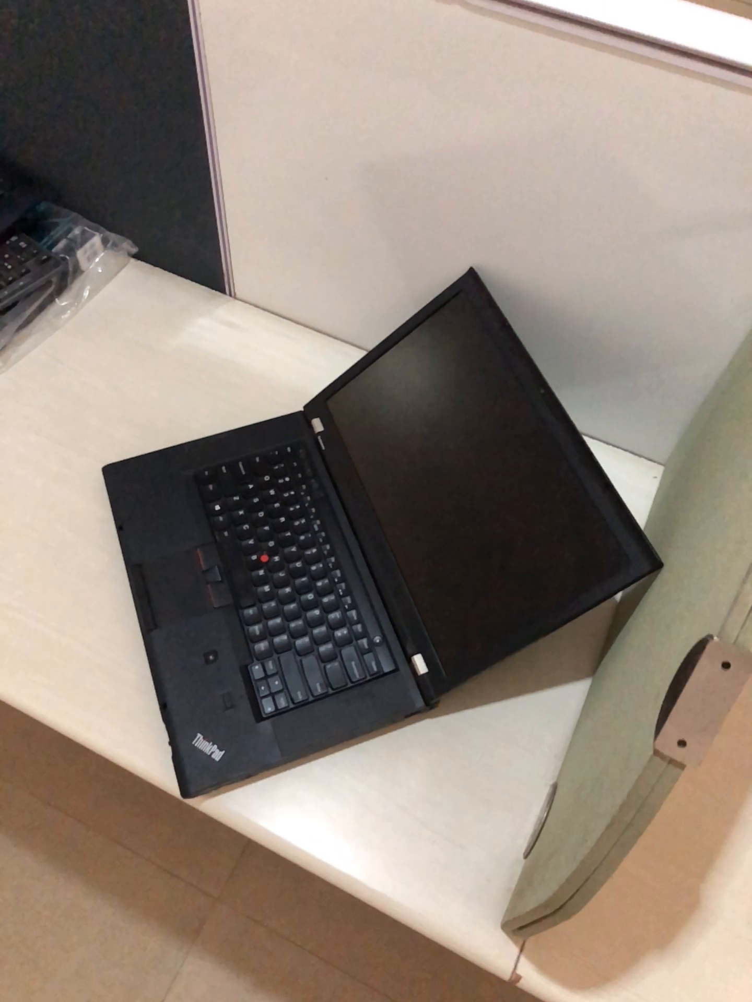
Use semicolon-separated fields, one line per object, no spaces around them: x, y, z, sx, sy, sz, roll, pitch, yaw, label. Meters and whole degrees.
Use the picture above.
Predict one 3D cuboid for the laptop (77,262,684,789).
-0.023;0.004;0.757;0.411;0.142;0.354;-18;59;-9;laptop
